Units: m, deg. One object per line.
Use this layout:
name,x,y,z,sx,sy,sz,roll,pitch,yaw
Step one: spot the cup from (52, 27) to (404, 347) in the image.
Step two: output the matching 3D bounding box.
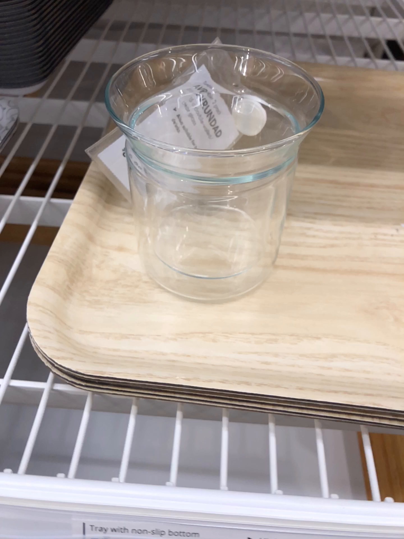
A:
cup,0.006,-0.043,0.201,0.100,0.080,0.090,-23,52,-24
